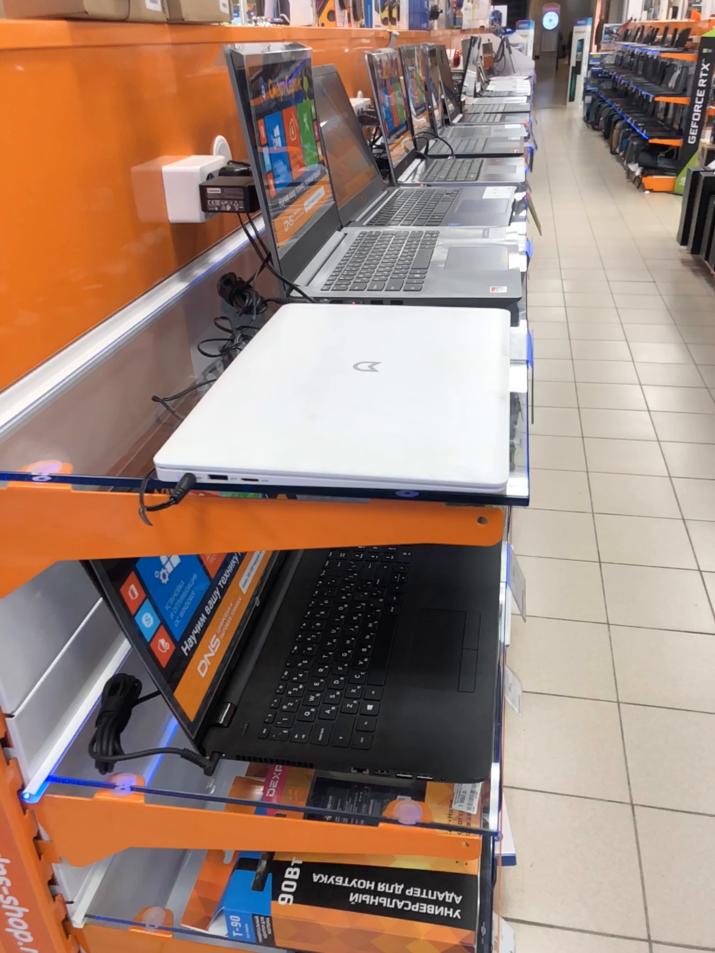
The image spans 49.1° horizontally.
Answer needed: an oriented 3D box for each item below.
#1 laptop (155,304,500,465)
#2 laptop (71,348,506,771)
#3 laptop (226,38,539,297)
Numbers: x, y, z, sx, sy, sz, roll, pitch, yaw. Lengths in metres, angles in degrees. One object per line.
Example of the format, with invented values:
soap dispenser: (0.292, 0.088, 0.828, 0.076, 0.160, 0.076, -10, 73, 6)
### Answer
laptop: (0.003, -0.087, 0.608, 0.211, 0.002, 0.314, 3, 29, 9)
laptop: (-0.025, 0.048, 0.776, 0.306, 0.228, 0.366, 3, 30, 12)
laptop: (0.038, -0.365, 0.893, 0.278, 0.224, 0.346, 2, 29, 8)
